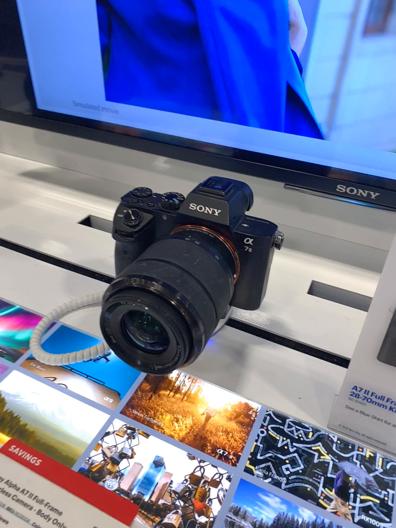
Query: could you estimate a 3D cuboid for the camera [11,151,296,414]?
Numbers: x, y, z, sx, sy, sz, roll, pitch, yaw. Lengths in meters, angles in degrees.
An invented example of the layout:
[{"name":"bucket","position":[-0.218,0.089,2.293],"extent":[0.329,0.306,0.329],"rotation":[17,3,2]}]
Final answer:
[{"name":"camera","position":[-0.019,-0.002,0.290],"extent":[0.130,0.090,0.142],"rotation":[16,38,19]}]
